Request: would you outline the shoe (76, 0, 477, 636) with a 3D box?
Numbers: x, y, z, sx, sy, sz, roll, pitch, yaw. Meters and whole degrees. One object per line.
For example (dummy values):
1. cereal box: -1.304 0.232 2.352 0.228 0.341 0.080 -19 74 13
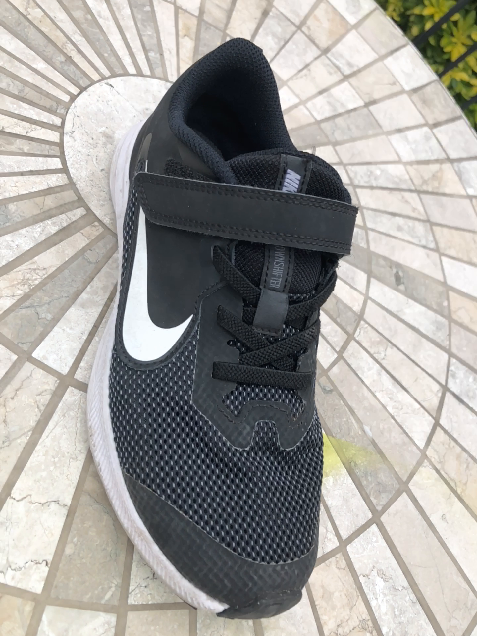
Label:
1. shoe: -0.002 -0.007 0.220 0.100 0.099 0.251 6 65 -31
